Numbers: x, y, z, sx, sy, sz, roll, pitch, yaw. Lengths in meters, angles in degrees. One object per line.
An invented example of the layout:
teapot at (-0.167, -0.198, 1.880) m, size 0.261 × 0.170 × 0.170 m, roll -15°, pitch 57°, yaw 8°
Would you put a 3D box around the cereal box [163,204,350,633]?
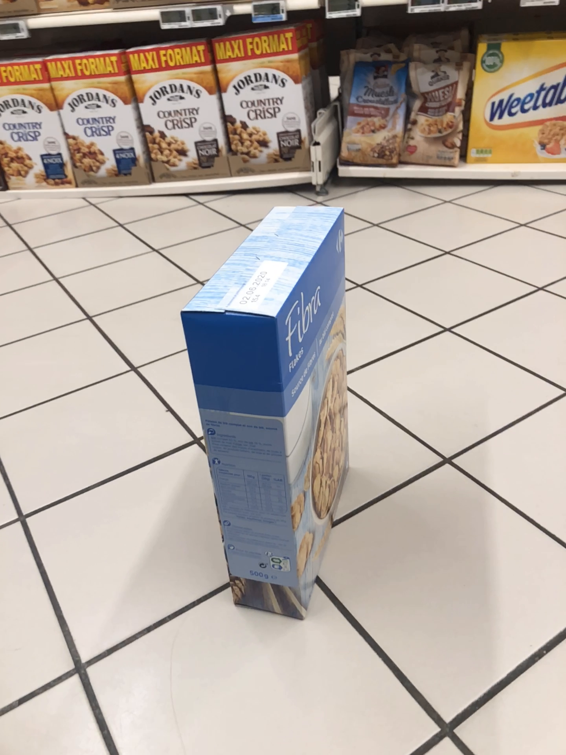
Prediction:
cereal box at (0.000, 0.030, 0.521) m, size 0.070 × 0.288 × 0.201 m, roll 5°, pitch 34°, yaw 16°
